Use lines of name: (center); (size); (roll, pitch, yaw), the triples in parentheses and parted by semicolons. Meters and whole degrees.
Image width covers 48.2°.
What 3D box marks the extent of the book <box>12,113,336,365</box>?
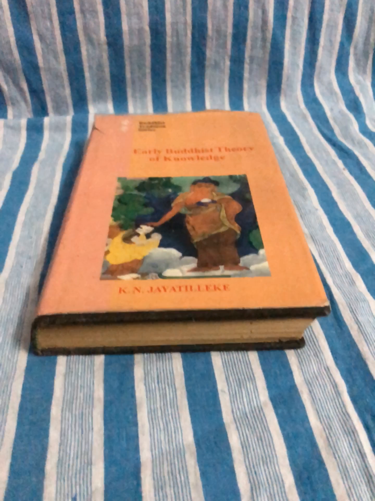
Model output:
book: (-0.010, -0.030, 0.285); (0.150, 0.030, 0.221); (-1, 43, -3)
